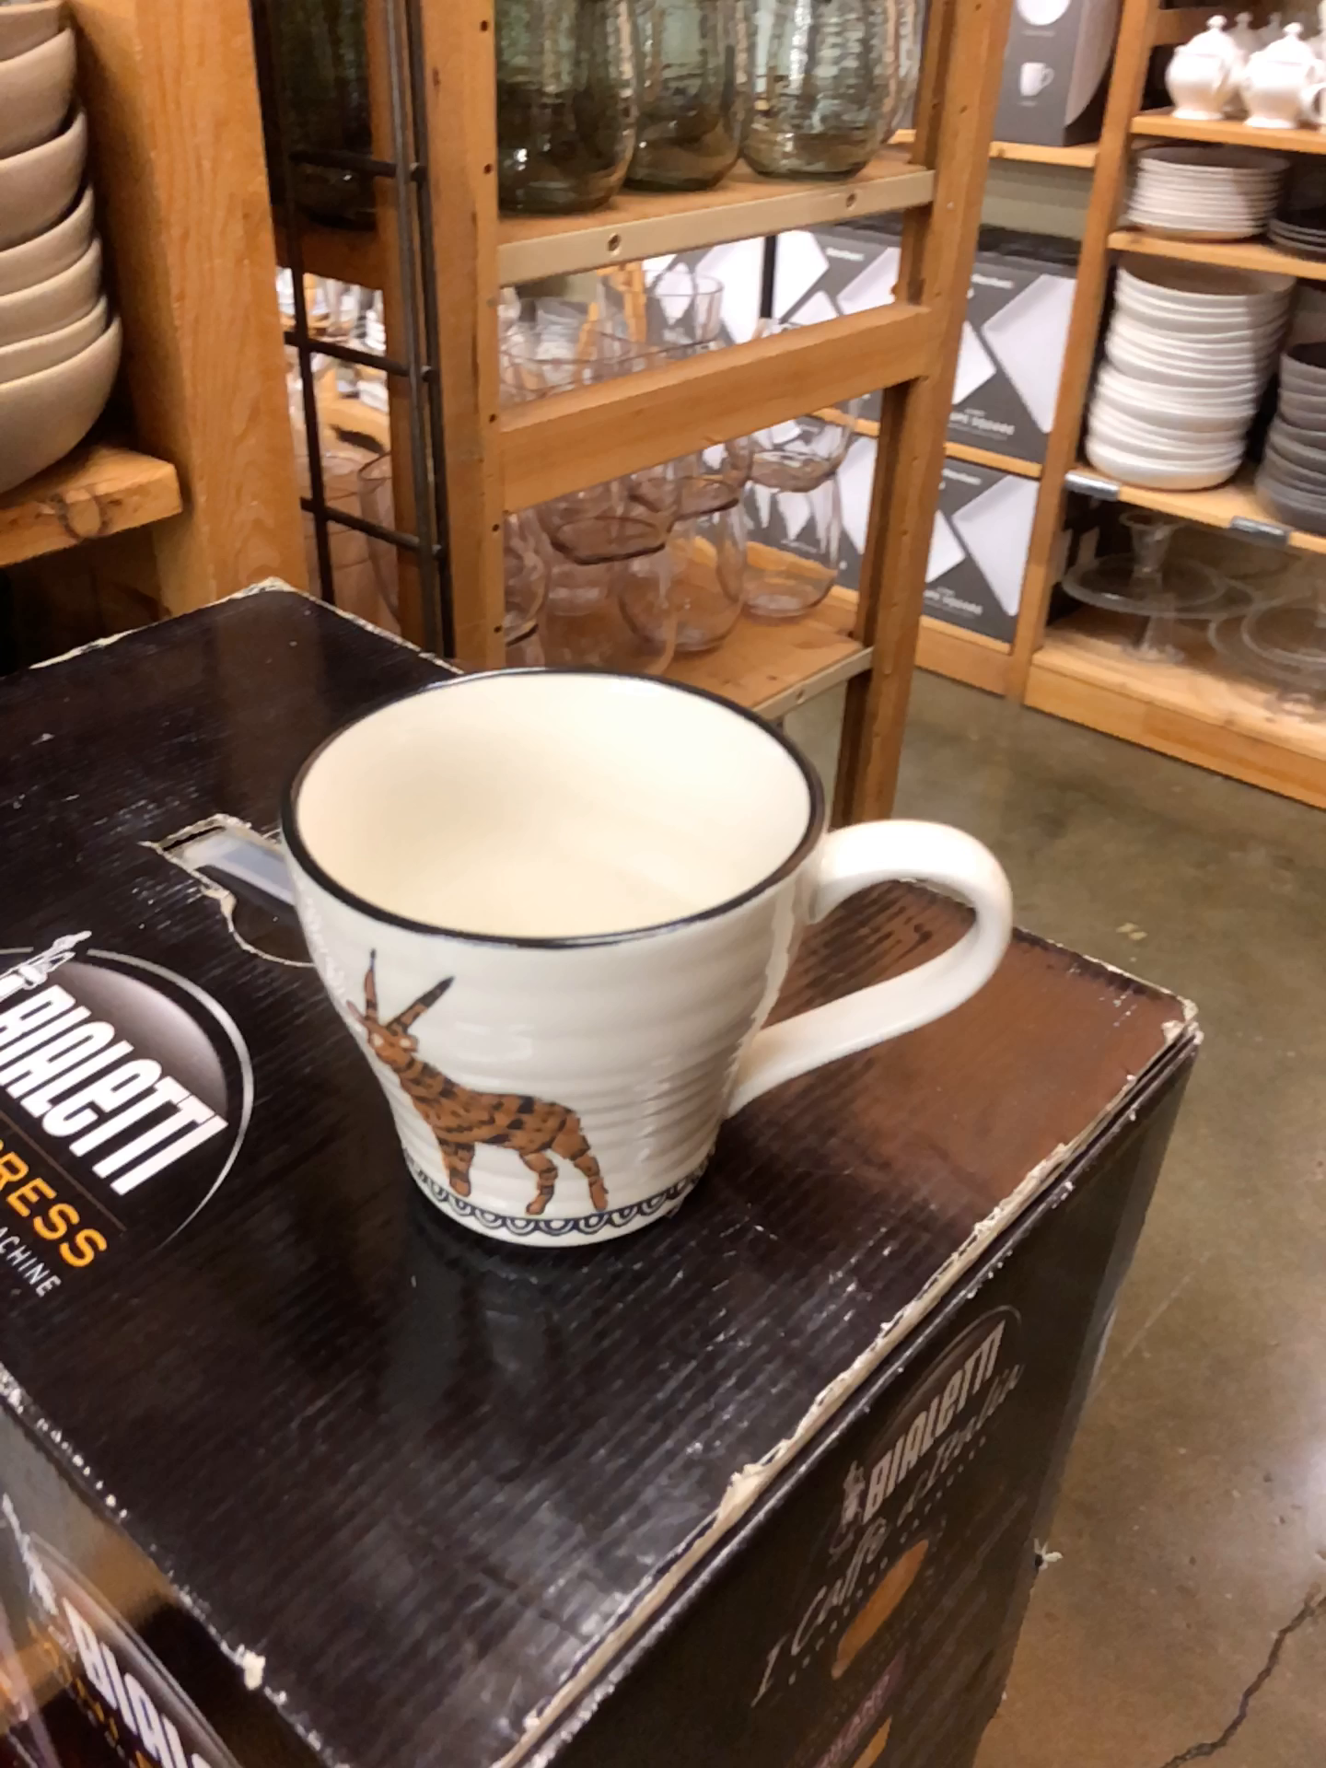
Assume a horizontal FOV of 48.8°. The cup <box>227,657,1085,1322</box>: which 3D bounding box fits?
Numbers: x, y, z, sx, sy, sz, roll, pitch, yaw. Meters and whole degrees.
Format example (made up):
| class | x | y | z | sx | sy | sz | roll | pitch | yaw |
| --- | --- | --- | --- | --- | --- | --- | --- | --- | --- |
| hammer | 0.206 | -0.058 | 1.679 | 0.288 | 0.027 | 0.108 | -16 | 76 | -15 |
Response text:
| class | x | y | z | sx | sy | sz | roll | pitch | yaw |
| --- | --- | --- | --- | --- | --- | --- | --- | --- | --- |
| cup | -0.003 | 0.017 | 0.288 | 0.130 | 0.084 | 0.102 | 1 | 33 | -2 |
